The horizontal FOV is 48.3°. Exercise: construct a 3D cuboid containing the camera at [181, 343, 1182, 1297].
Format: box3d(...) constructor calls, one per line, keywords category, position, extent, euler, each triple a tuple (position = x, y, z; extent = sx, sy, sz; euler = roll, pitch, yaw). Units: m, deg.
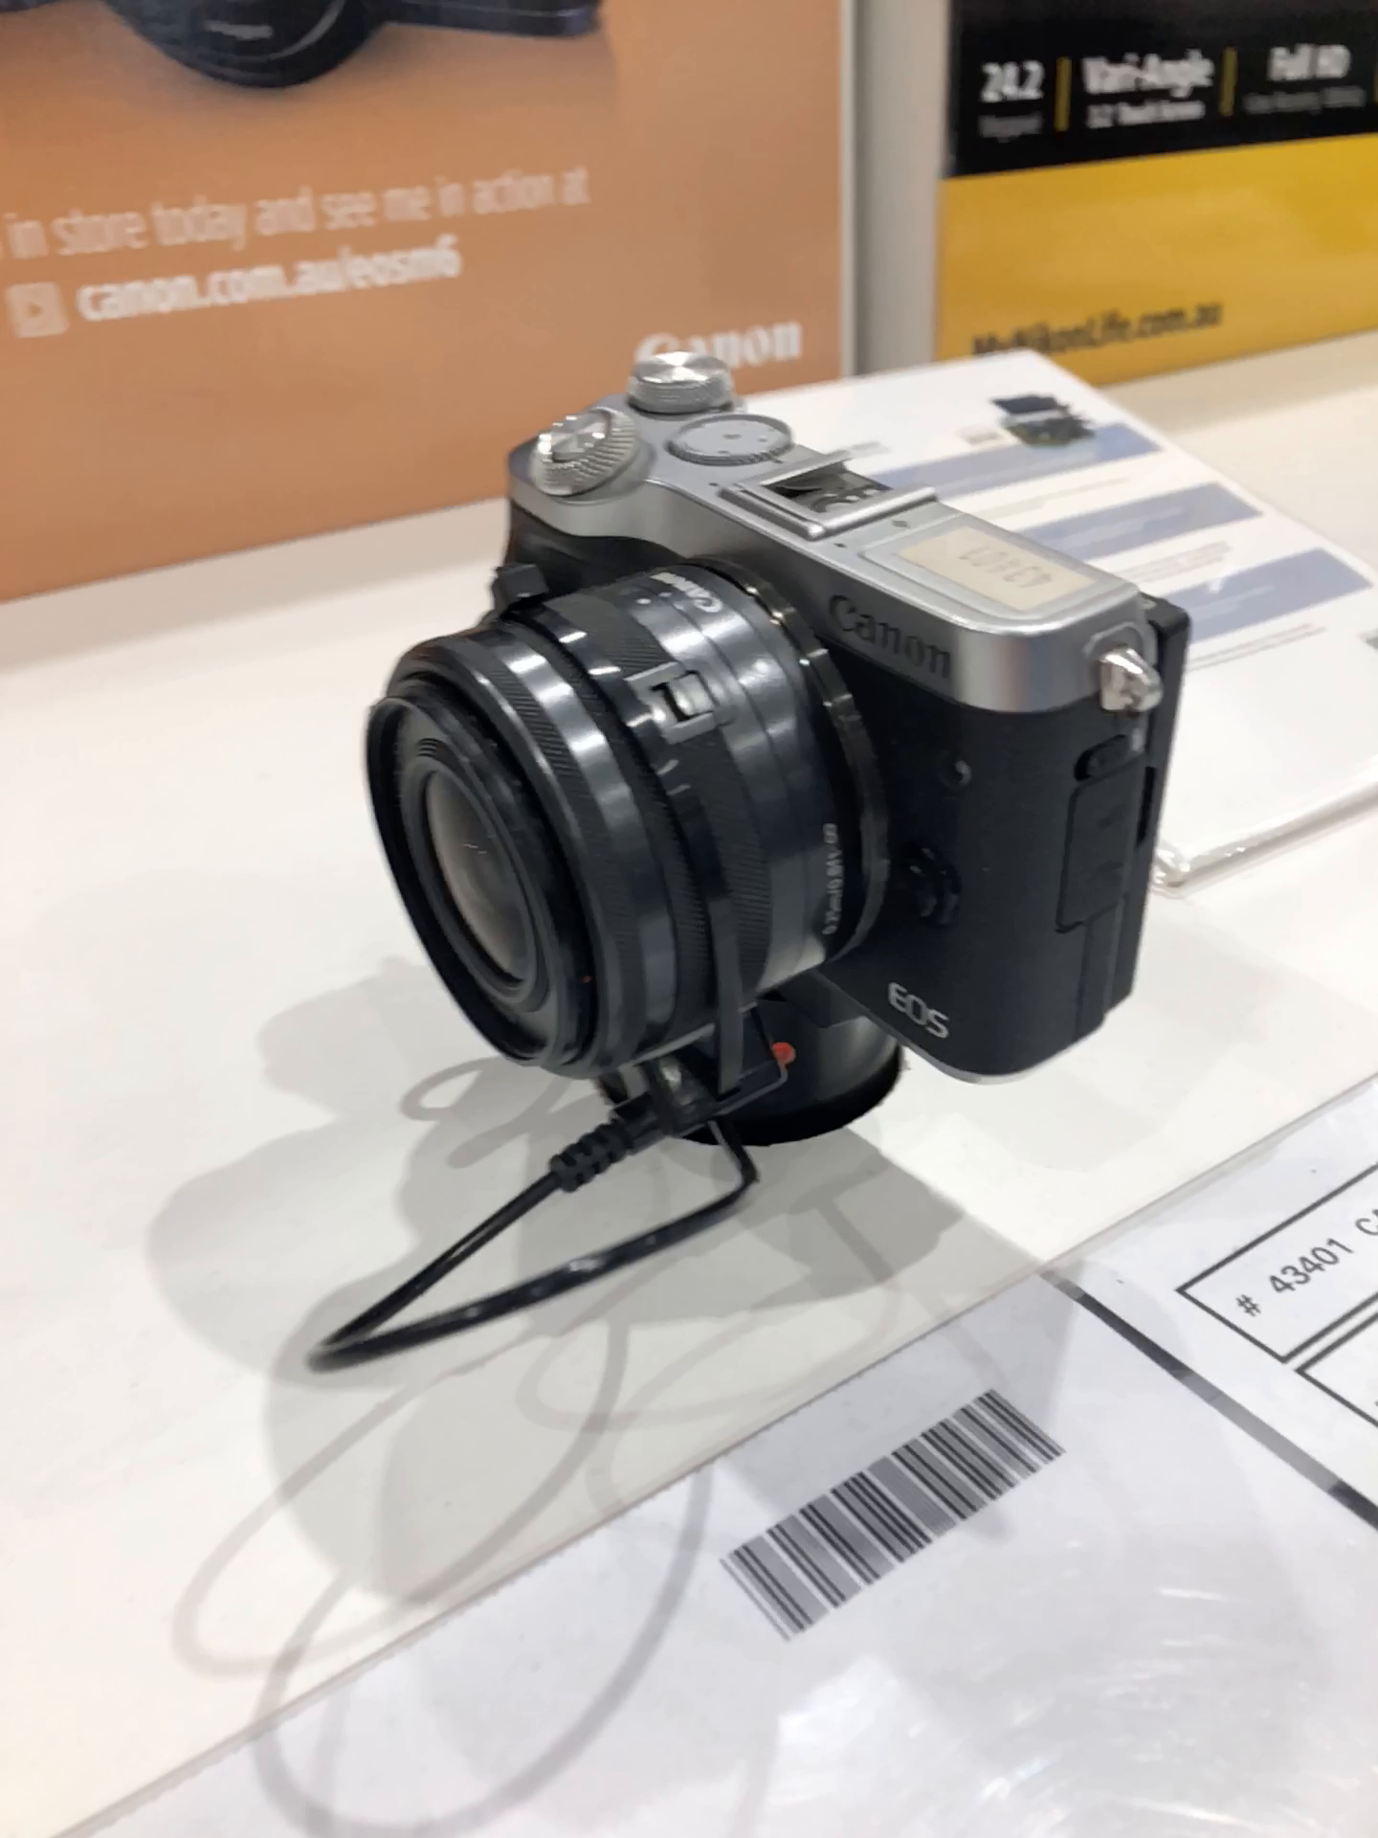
box3d(category="camera", position=(-0.005, -0.024, 0.214), extent=(0.083, 0.075, 0.103), euler=(-24, 39, -27))
